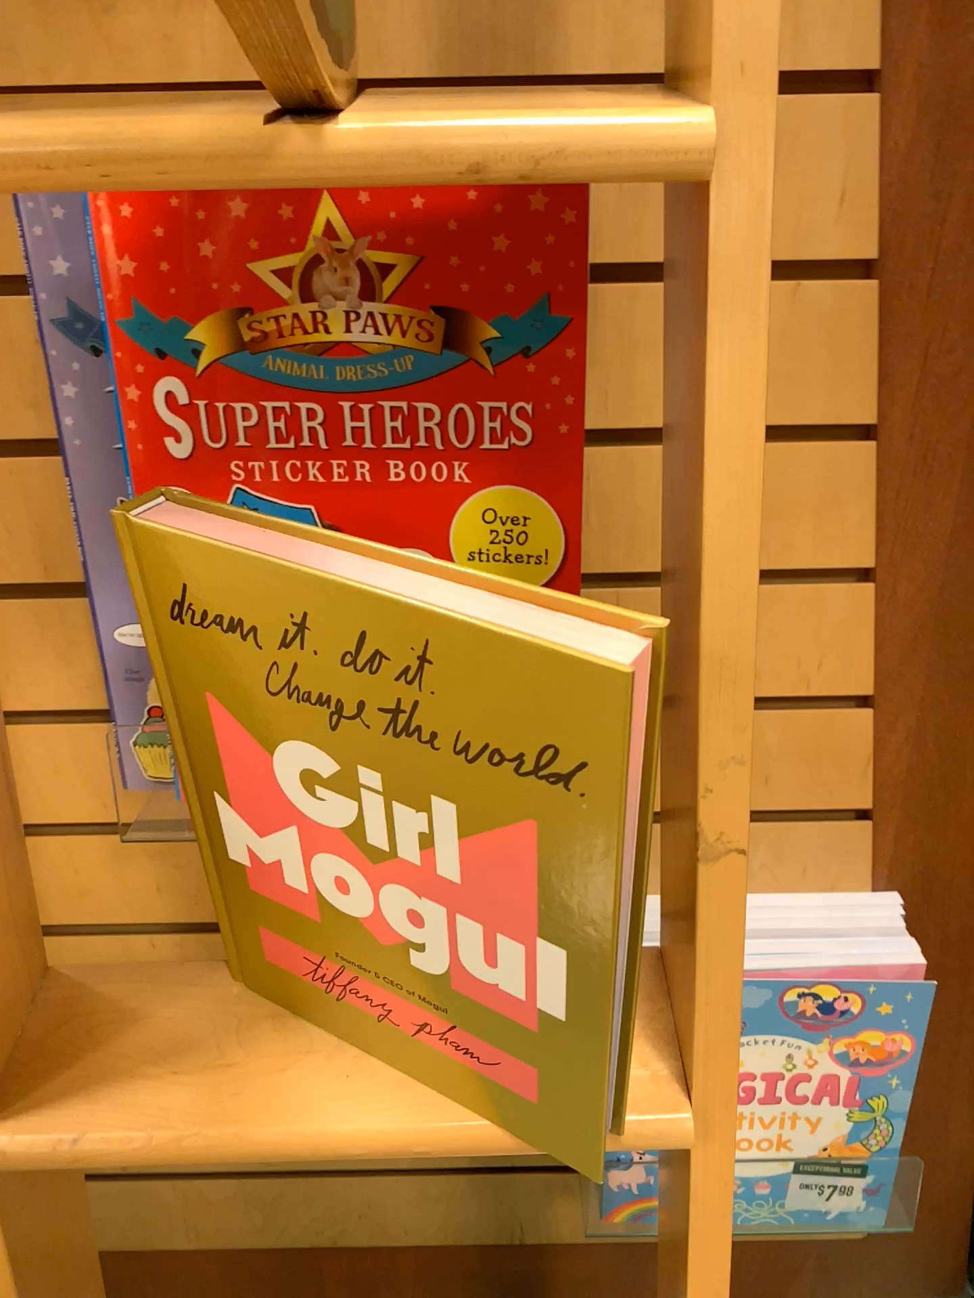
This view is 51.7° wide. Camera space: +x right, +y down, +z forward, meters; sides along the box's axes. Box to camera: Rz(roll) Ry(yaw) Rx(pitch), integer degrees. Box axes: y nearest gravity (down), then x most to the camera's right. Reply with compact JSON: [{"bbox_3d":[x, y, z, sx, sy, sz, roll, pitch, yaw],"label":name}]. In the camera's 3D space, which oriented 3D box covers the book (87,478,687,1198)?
[{"bbox_3d":[-0.034,0.067,0.337,0.180,0.219,0.030,17,37,25],"label":"book"}]
